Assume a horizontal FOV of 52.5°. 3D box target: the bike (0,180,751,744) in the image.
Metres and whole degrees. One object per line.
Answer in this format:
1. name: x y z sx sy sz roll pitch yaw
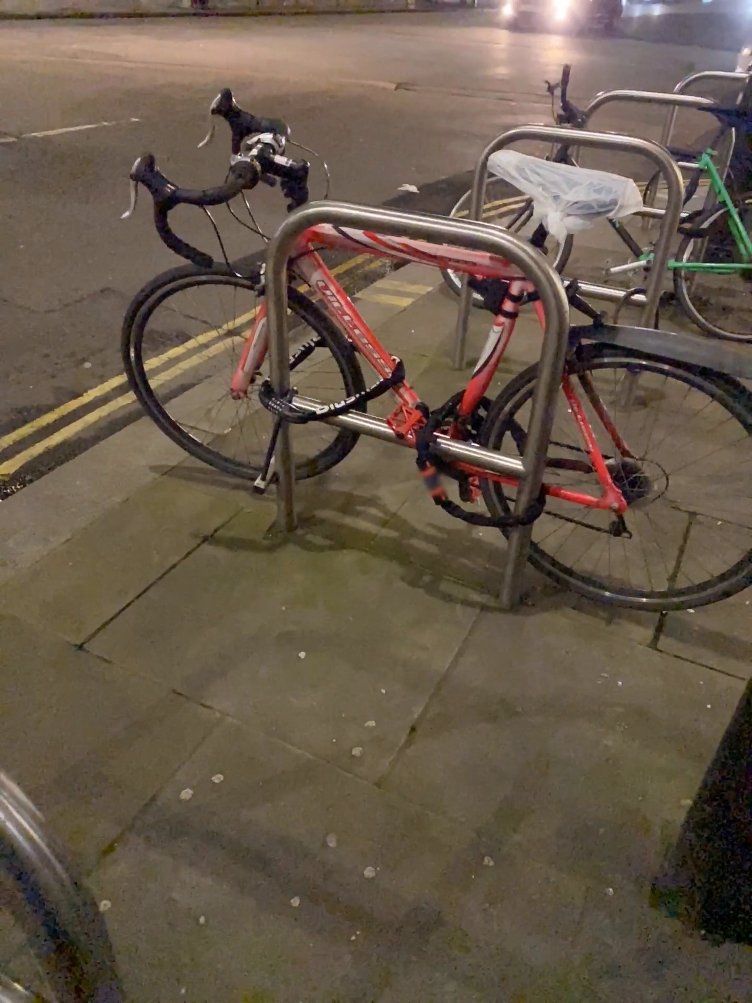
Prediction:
1. bike: 0.044 -0.185 1.797 1.661 0.809 0.540 16 37 20
